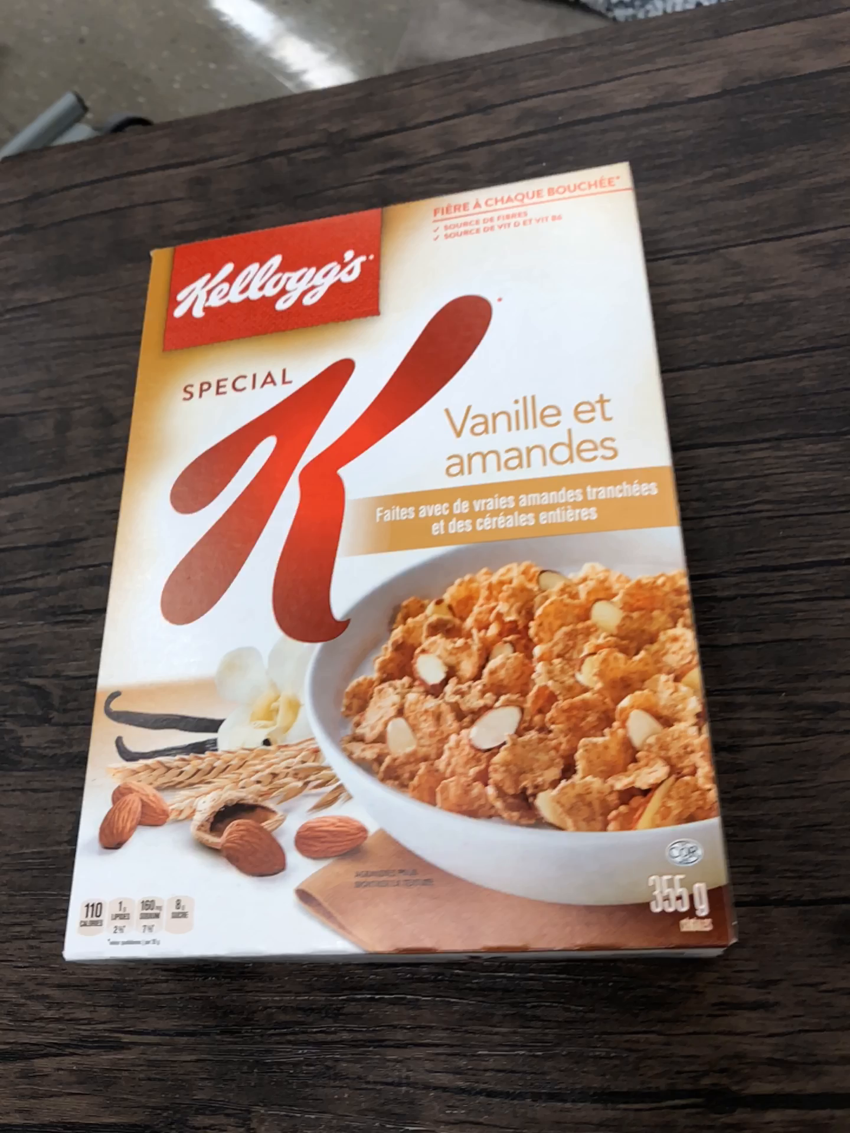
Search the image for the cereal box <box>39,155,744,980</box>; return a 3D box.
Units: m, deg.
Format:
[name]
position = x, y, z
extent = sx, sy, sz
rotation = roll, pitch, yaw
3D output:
[cereal box]
position = -0.013, -0.002, 0.338
extent = 0.200, 0.060, 0.270
rotation = -6, 68, 12
